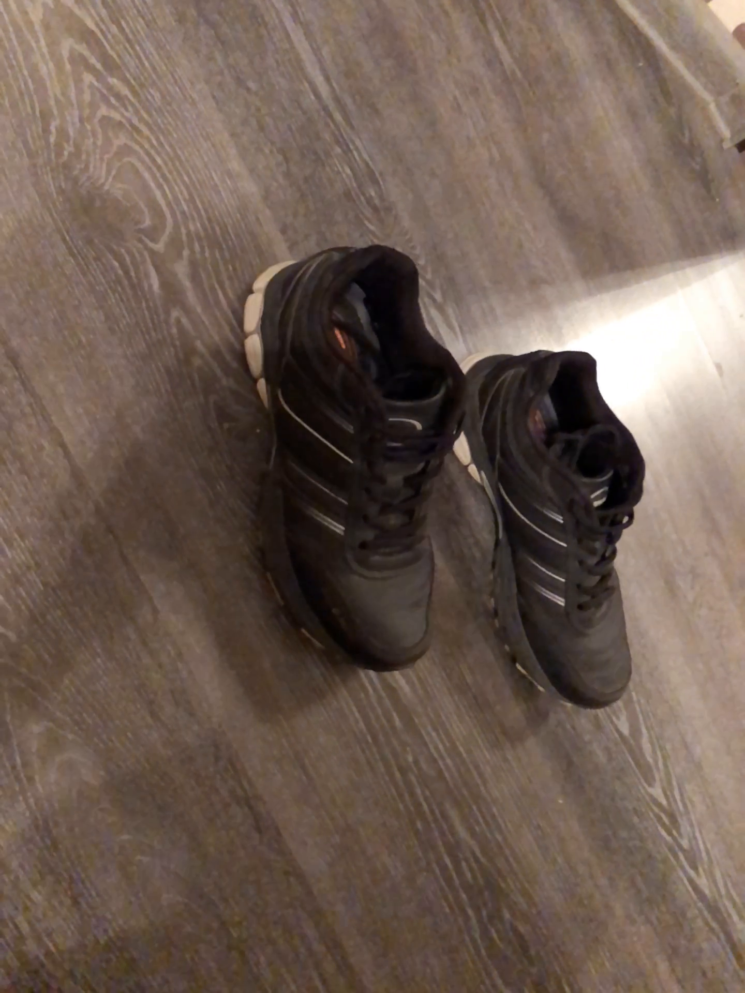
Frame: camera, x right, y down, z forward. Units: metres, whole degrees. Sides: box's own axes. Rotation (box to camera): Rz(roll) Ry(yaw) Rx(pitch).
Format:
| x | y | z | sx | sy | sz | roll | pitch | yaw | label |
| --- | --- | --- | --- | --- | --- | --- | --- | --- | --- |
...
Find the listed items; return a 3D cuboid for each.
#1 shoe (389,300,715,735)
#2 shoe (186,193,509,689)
| x | y | z | sx | sy | sz | roll | pitch | yaw | label |
| --- | --- | --- | --- | --- | --- | --- | --- | --- | --- |
| 0.121 | 0.014 | 0.564 | 0.111 | 0.100 | 0.260 | -18 | 90 | -33 | shoe |
| -0.018 | -0.030 | 0.465 | 0.100 | 0.090 | 0.250 | -11 | 86 | -33 | shoe |
